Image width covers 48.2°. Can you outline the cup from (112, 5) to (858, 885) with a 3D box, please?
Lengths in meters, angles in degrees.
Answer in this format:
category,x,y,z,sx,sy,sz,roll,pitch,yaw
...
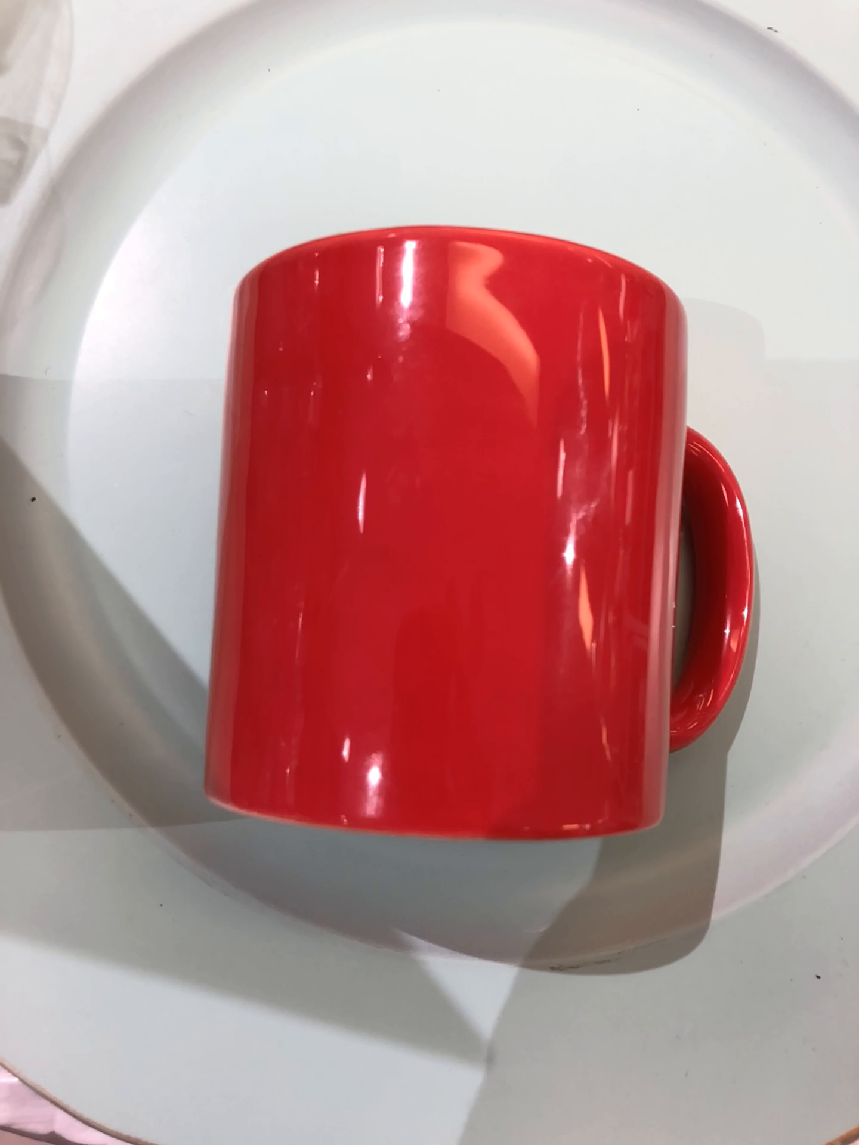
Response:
category,x,y,z,sx,sy,sz,roll,pitch,yaw
cup,0.014,-0.010,0.162,0.110,0.060,0.100,6,82,-34
